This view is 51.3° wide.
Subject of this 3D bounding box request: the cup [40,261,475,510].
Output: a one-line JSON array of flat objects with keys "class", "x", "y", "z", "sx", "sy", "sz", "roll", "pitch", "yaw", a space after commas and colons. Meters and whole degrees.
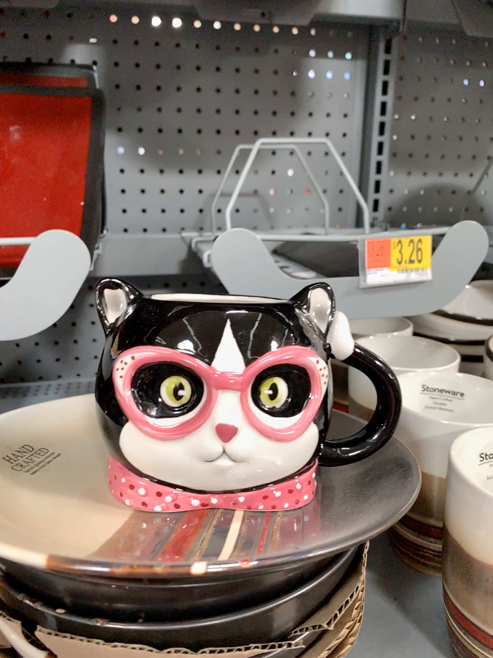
[{"class": "cup", "x": 0.002, "y": 0.015, "z": 0.225, "sx": 0.144, "sy": 0.074, "sz": 0.096, "roll": -1, "pitch": 16, "yaw": -5}]
